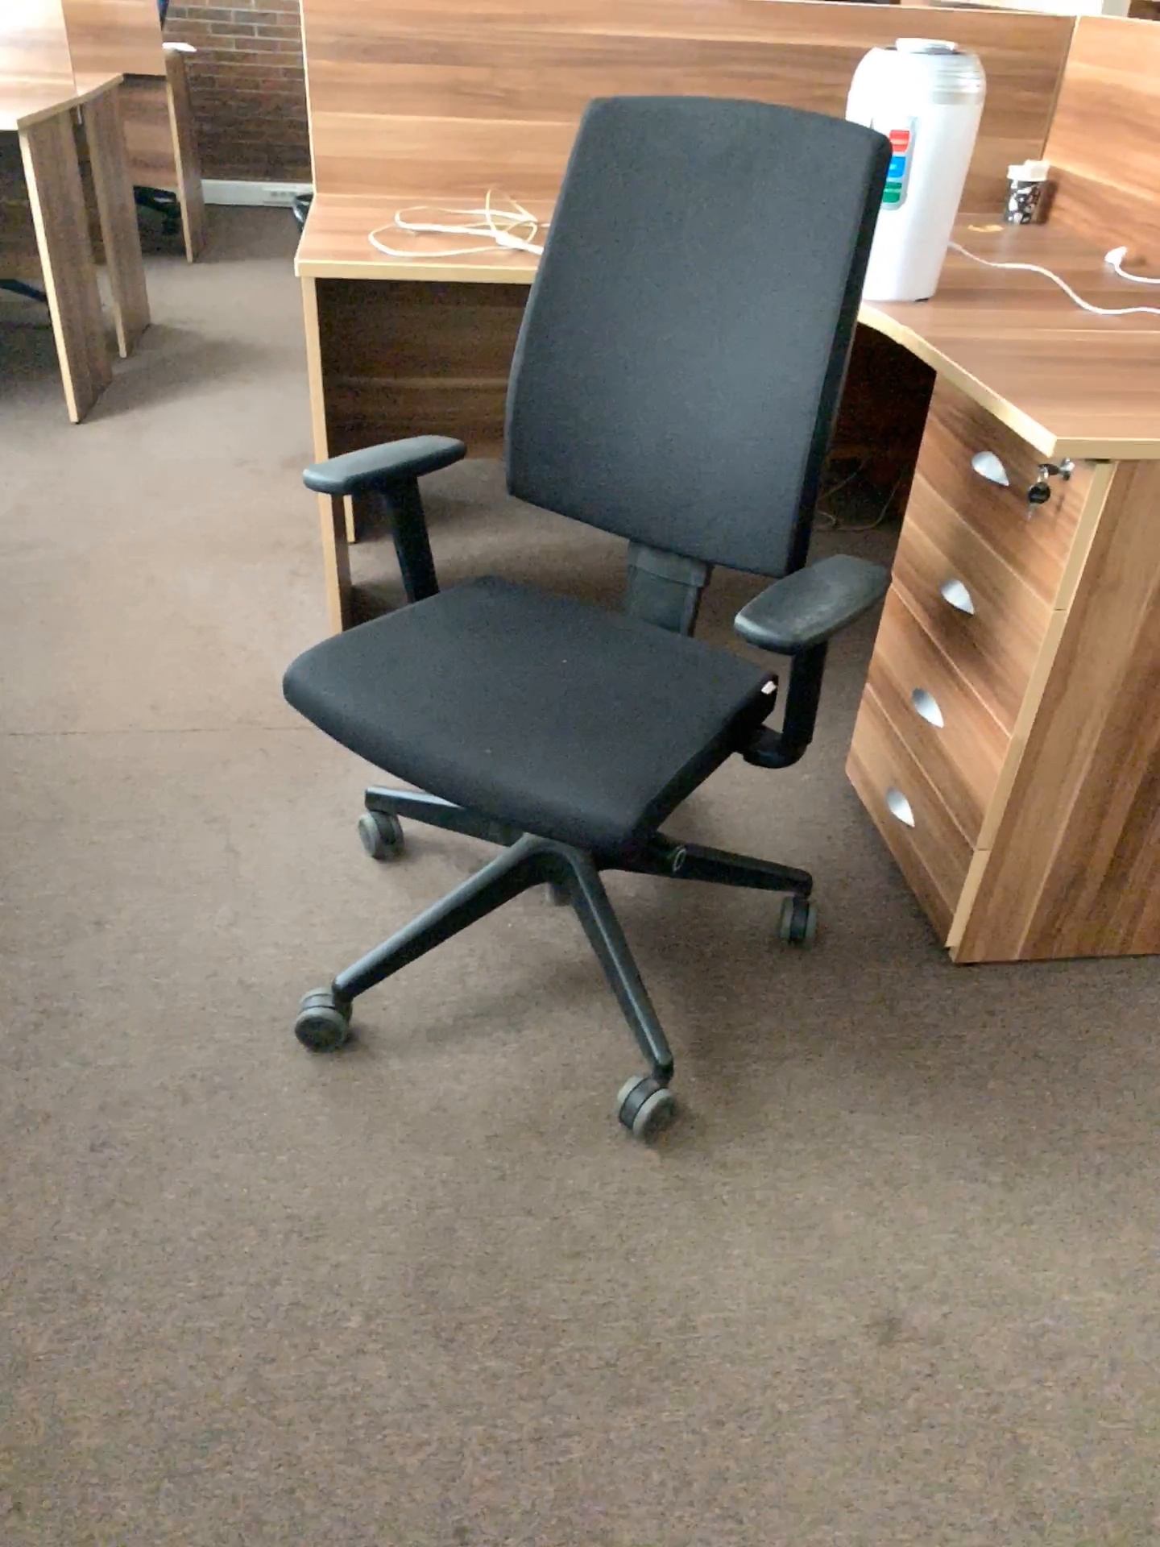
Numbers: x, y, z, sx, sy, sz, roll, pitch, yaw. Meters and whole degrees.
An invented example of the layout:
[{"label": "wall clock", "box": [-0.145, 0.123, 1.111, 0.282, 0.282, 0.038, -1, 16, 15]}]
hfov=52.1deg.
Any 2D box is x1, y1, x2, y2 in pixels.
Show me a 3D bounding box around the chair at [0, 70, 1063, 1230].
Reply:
[{"label": "chair", "box": [-0.025, -0.223, 1.339, 0.671, 0.915, 0.793, 23, 38, 26]}]
